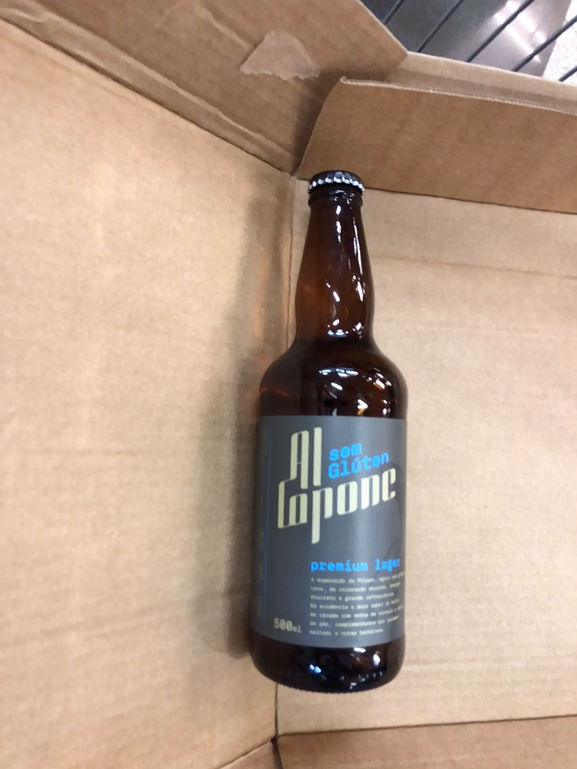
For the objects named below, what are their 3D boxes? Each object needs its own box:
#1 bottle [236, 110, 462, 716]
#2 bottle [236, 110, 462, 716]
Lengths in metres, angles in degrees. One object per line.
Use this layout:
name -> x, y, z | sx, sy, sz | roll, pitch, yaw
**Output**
bottle -> 0.034, 0.010, 0.351 | 0.090, 0.070, 0.290 | 8, 76, -26
bottle -> 0.034, 0.010, 0.351 | 0.090, 0.070, 0.290 | 8, 76, -26
